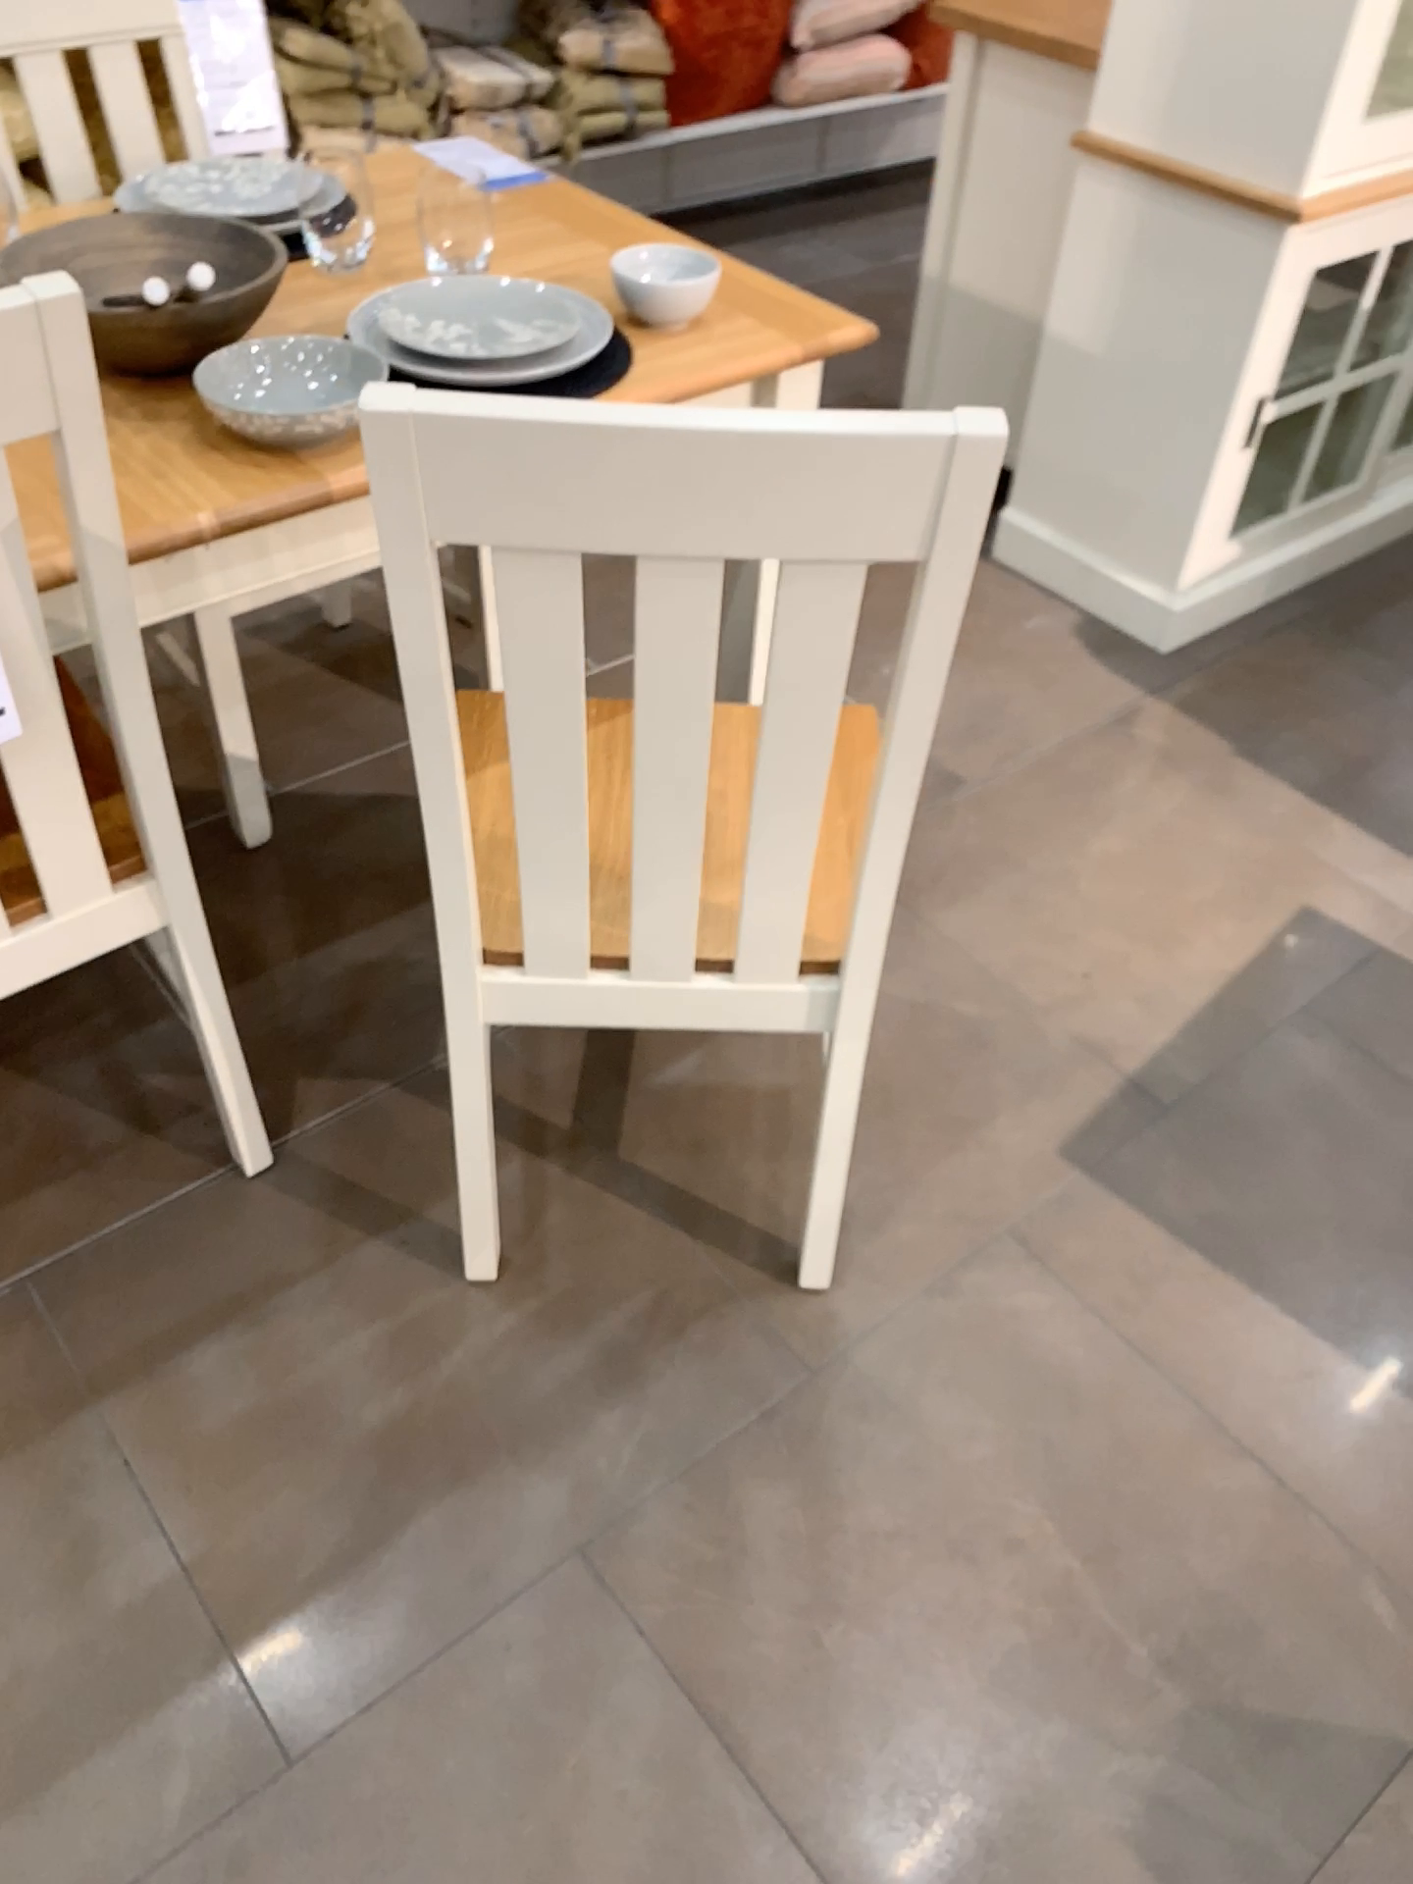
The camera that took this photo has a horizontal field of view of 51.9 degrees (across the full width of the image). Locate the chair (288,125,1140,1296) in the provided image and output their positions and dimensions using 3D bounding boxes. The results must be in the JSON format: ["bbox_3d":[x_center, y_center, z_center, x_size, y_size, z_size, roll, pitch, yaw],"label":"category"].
[{"bbox_3d":[-0.022,-0.168,1.369,0.501,0.925,0.551,1,43,-3],"label":"chair"}]

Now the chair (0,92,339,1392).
[{"bbox_3d":[-0.728,-0.159,1.317,0.473,0.925,0.539,-26,50,-28],"label":"chair"}]
